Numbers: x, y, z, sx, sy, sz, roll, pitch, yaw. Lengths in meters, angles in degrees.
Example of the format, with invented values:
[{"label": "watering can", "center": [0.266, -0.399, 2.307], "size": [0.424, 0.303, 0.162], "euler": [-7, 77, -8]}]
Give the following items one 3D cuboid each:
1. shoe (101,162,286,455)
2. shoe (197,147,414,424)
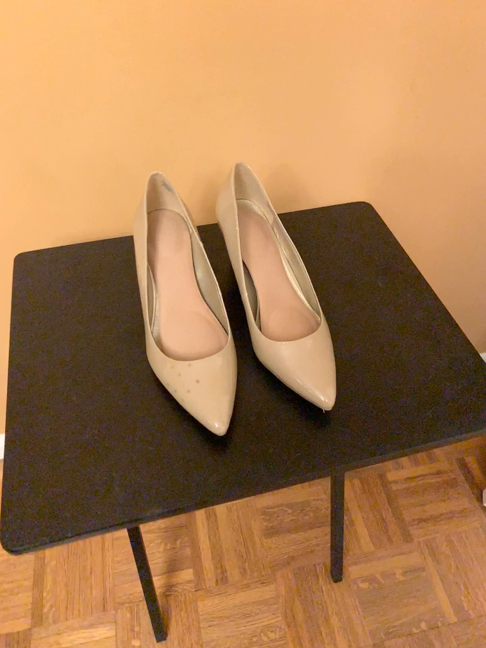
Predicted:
[{"label": "shoe", "center": [-0.062, -0.037, 0.496], "size": [0.100, 0.090, 0.301], "euler": [-13, 50, -13]}, {"label": "shoe", "center": [0.041, -0.060, 0.513], "size": [0.100, 0.090, 0.301], "euler": [-13, 50, -13]}]
